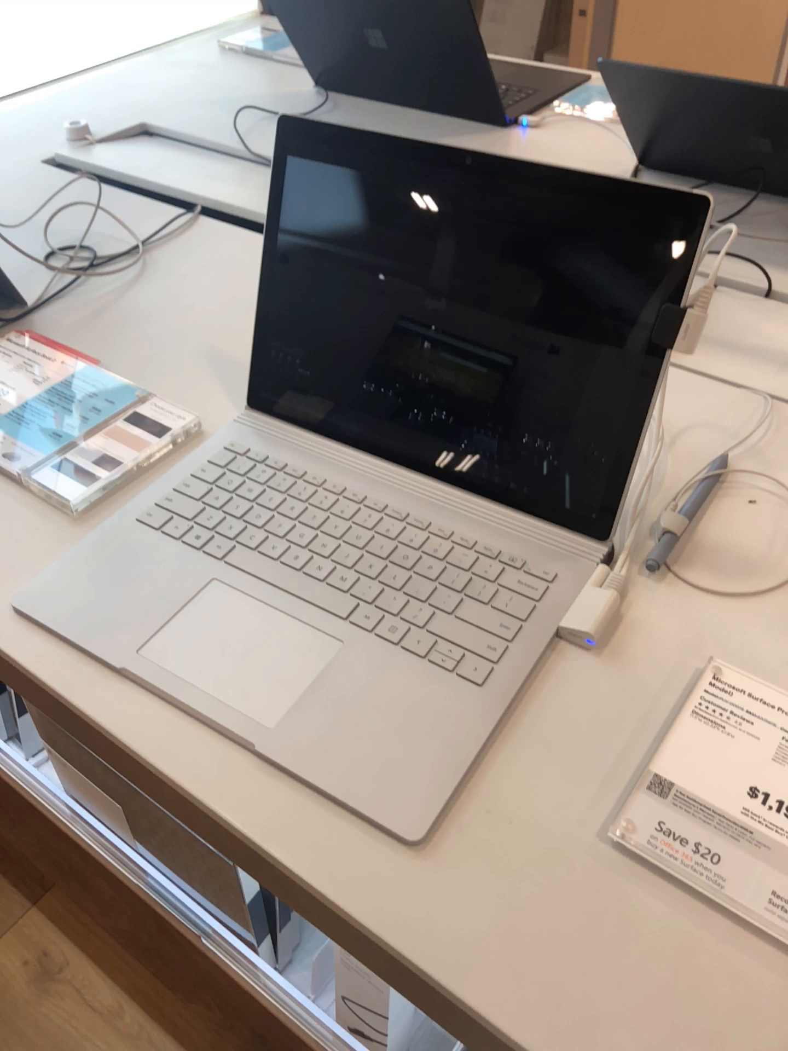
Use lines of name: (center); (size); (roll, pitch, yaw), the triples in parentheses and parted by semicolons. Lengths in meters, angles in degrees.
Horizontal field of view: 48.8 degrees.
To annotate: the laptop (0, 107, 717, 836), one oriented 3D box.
laptop: (-0.027, -0.070, 0.504); (0.291, 0.191, 0.312); (23, 49, 26)
